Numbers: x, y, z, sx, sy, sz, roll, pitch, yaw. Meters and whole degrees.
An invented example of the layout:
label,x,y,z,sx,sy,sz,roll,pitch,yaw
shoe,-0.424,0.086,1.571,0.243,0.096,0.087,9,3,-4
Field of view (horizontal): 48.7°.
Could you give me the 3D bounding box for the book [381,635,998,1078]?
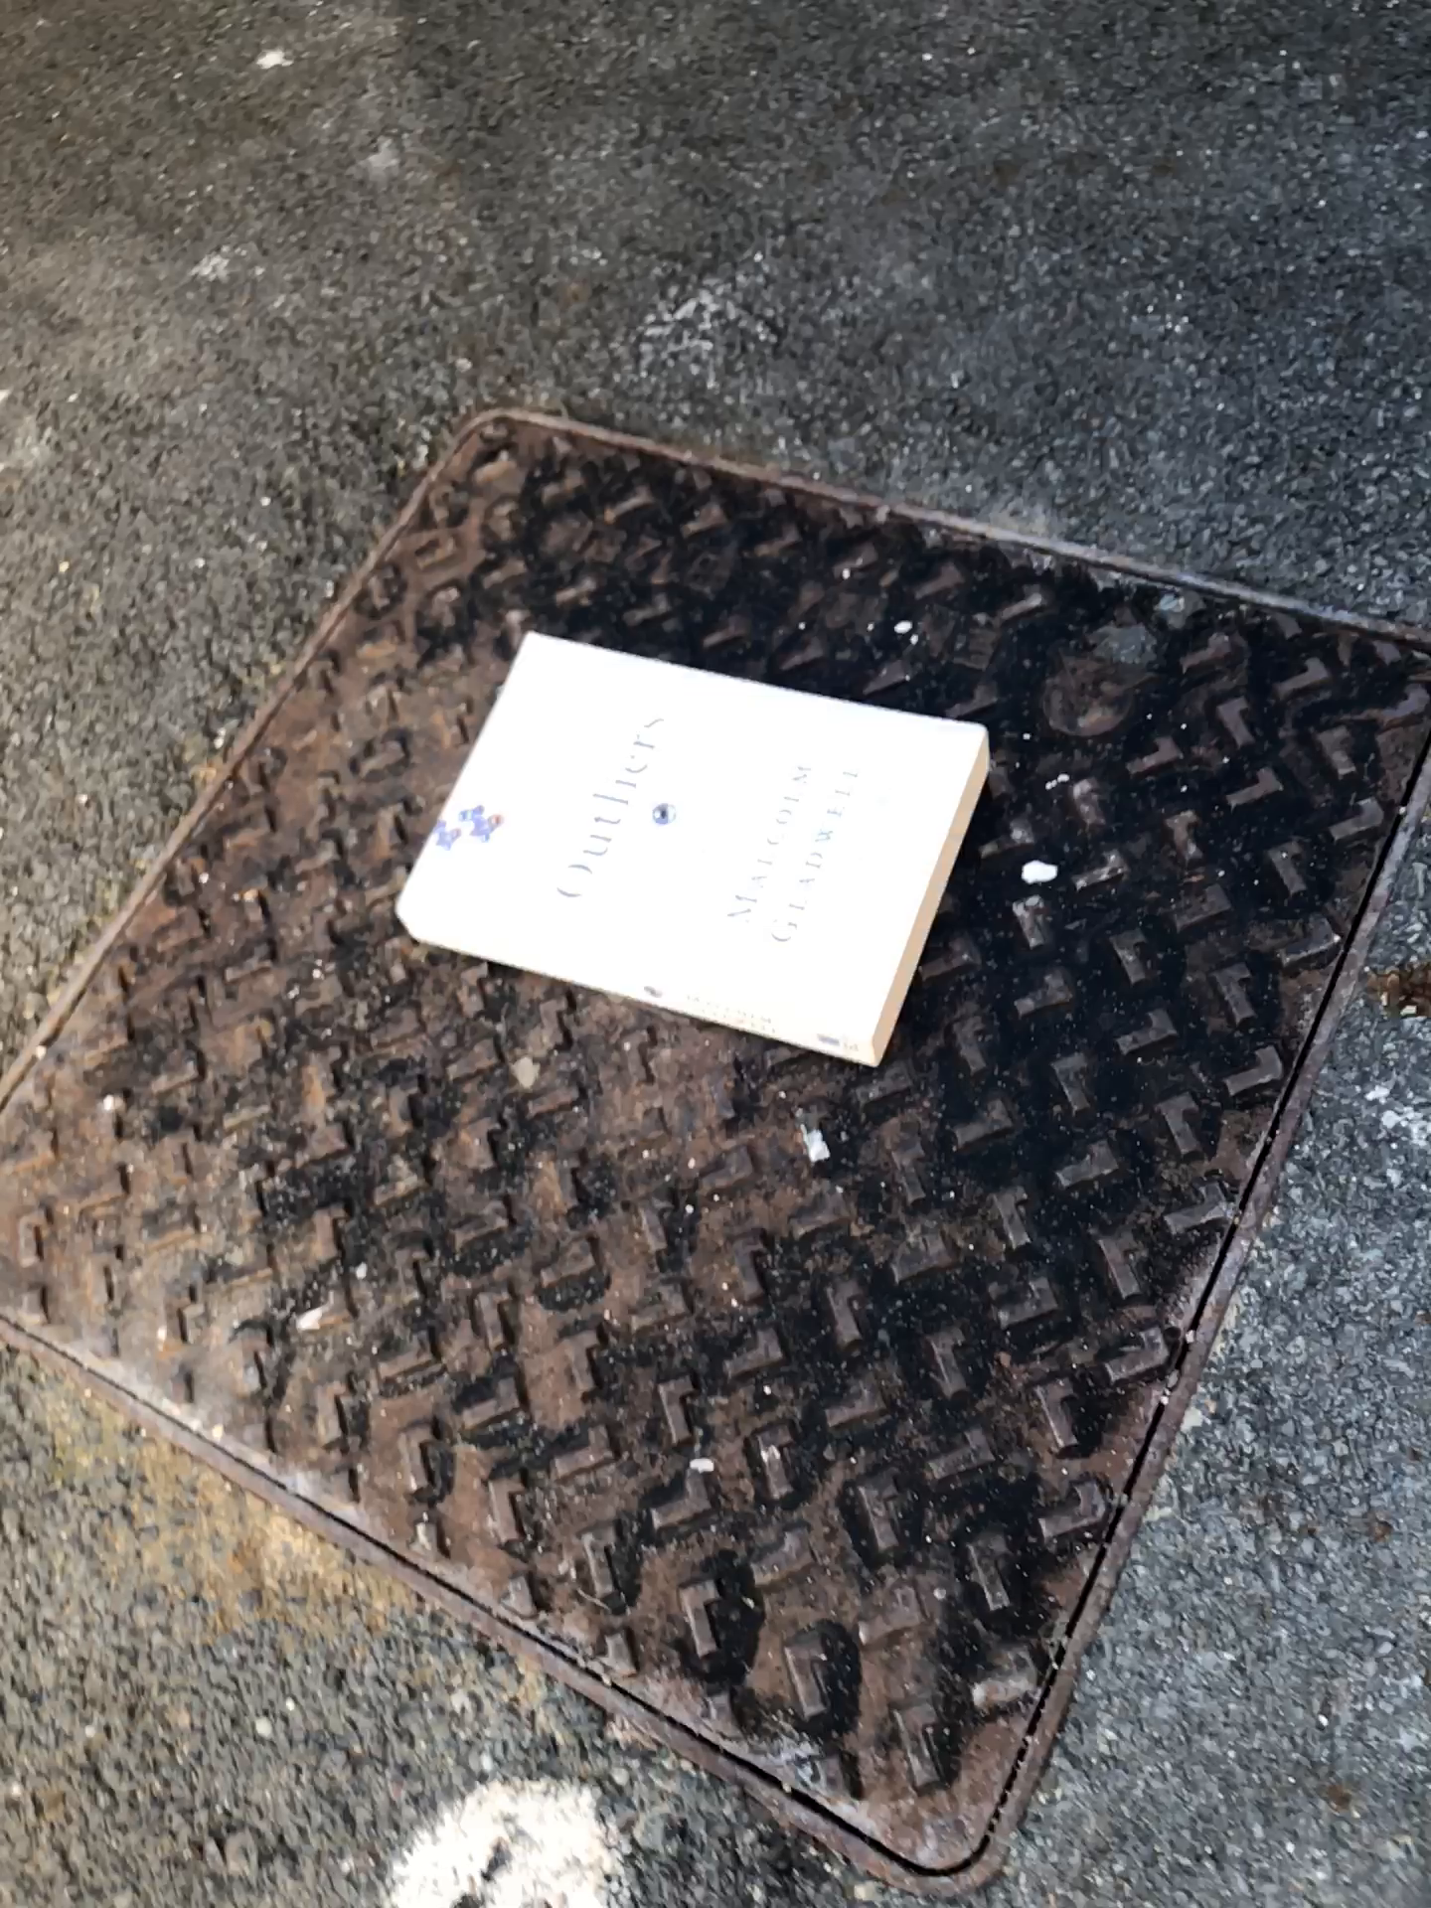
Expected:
label,x,y,z,sx,sy,sz,roll,pitch,yaw
book,-0.010,-0.046,0.632,0.209,0.030,0.140,15,67,20
